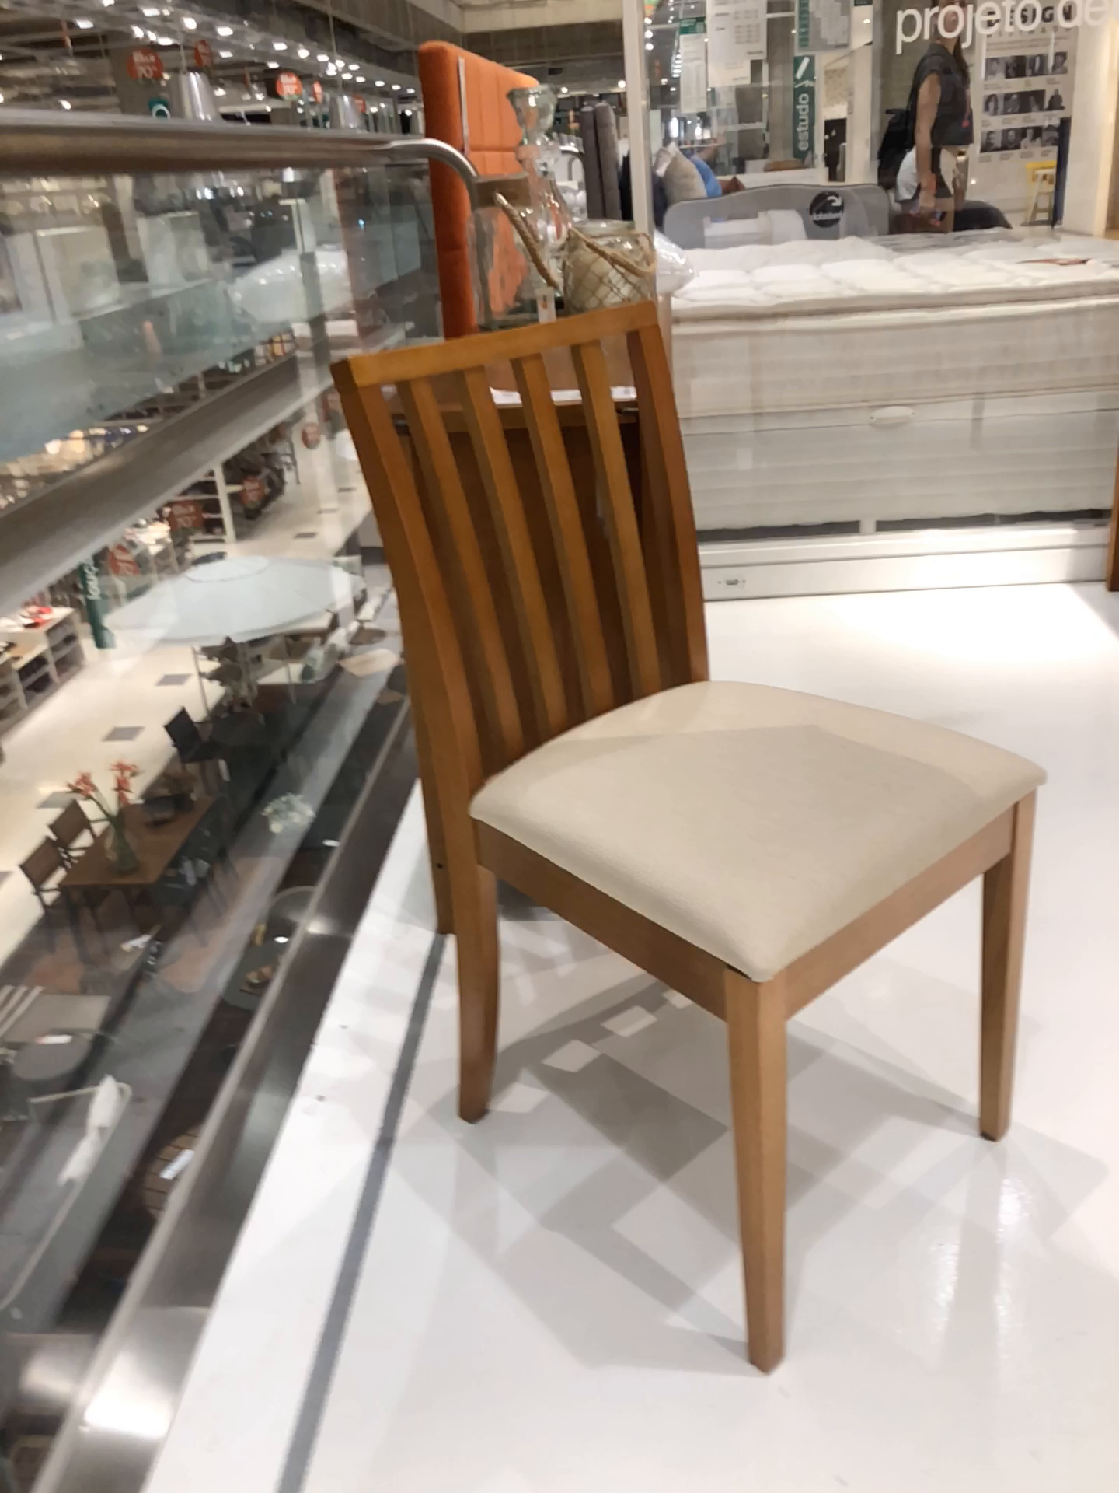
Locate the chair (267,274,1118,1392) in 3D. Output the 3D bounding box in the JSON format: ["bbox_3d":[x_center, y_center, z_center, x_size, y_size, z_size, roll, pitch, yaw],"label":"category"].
[{"bbox_3d":[0.162,0.005,1.223,0.542,0.835,0.551,-26,32,-38],"label":"chair"}]
